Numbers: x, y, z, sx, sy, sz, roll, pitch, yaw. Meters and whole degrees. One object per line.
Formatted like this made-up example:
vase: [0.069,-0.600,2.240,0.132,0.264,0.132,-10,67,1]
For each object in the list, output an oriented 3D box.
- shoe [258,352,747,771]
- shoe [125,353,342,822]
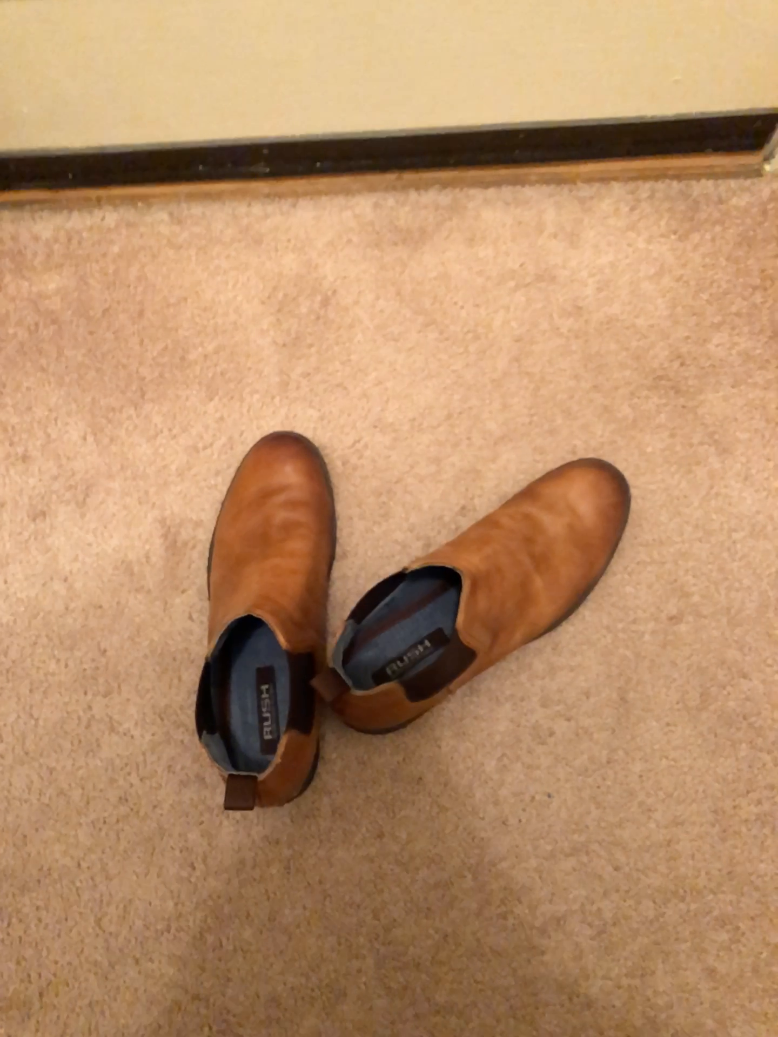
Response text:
shoe: [0.078,0.041,0.629,0.312,0.166,0.109,-35,75,-9]
shoe: [-0.100,0.056,0.639,0.109,0.166,0.312,0,72,1]
